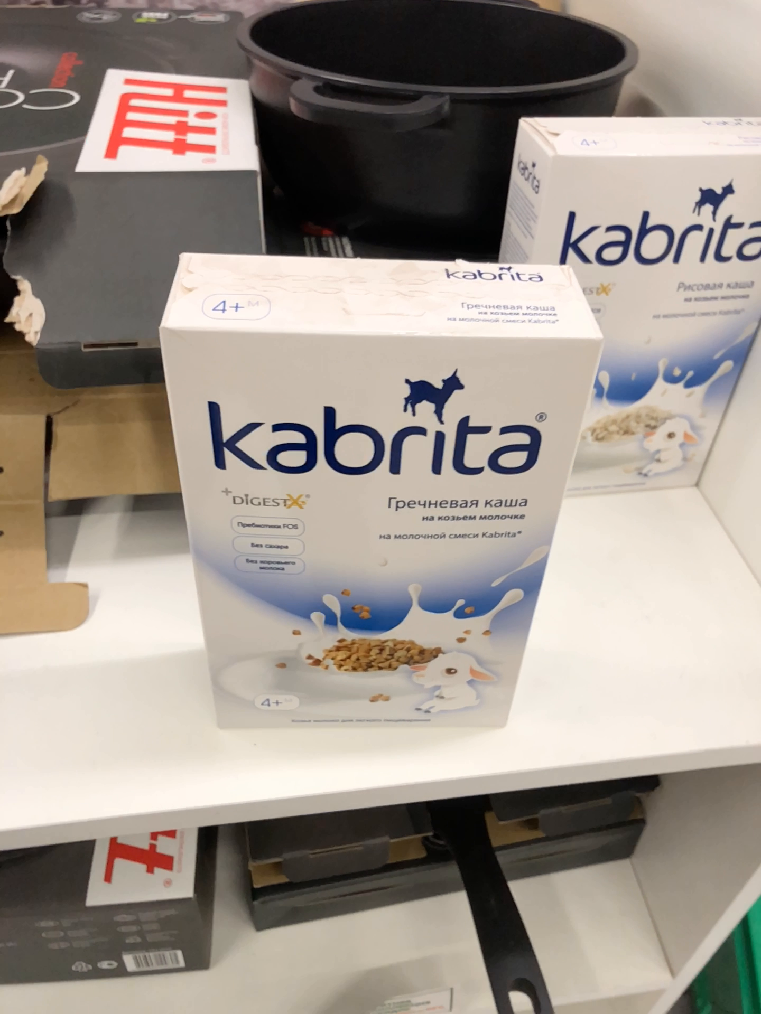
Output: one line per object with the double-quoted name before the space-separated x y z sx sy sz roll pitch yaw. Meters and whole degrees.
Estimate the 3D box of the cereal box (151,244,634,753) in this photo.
"cereal box" -0.002 0.012 0.335 0.140 0.219 0.050 0 42 -5
